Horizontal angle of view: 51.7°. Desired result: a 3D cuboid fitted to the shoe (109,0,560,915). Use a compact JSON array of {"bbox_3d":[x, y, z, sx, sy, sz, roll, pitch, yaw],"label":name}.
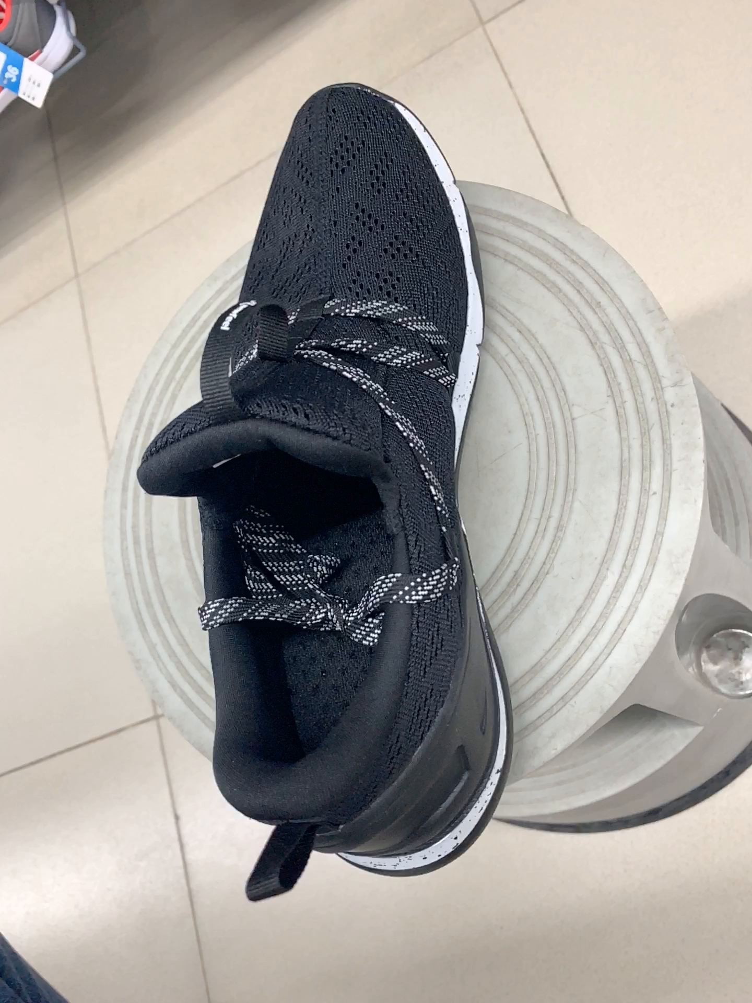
[{"bbox_3d":[-0.015,-0.027,0.271,0.100,0.090,0.290,-12,69,22],"label":"shoe"}]
